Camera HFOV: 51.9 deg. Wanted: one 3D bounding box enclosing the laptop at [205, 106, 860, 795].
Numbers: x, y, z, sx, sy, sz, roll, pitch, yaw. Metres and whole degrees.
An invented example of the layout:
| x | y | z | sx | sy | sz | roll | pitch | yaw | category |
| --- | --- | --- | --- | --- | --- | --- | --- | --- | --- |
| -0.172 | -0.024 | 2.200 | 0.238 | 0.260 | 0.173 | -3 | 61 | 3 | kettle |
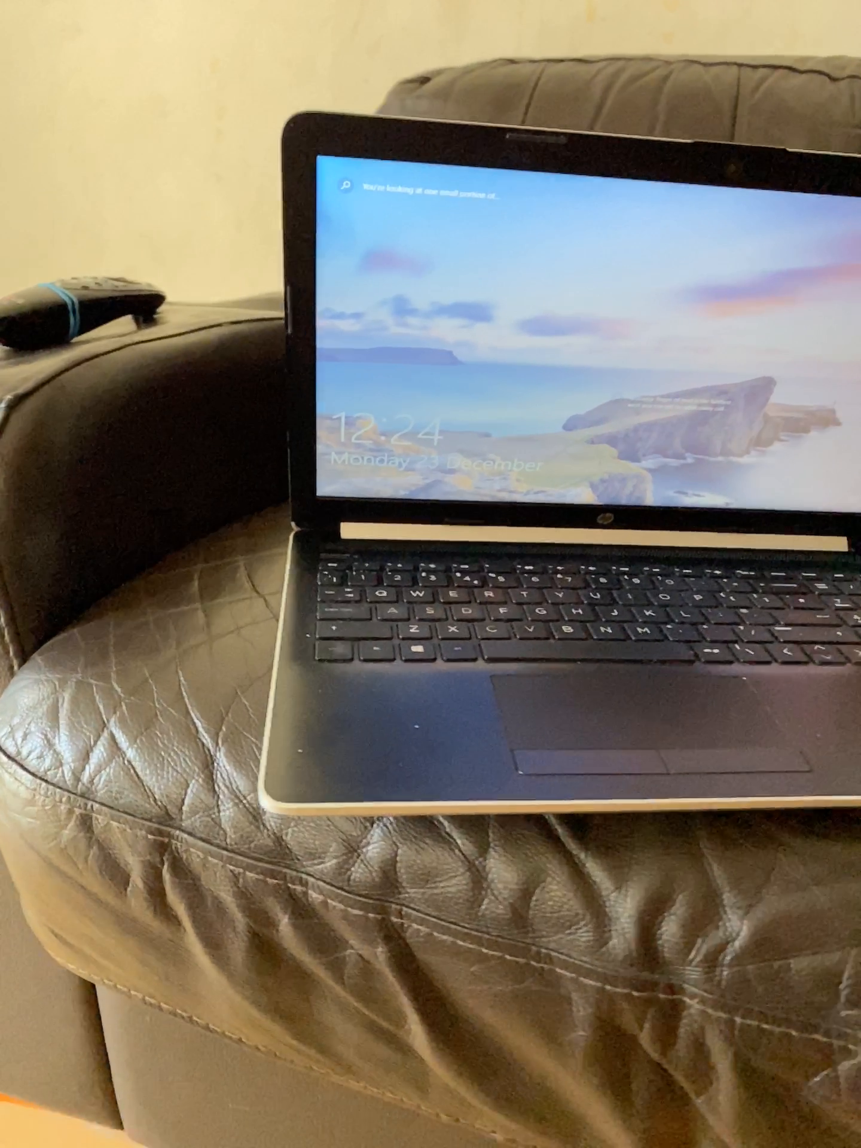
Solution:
| x | y | z | sx | sy | sz | roll | pitch | yaw | category |
| --- | --- | --- | --- | --- | --- | --- | --- | --- | --- |
| 0.116 | -0.067 | 0.391 | 0.371 | 0.212 | 0.238 | 0 | 24 | -6 | laptop |
